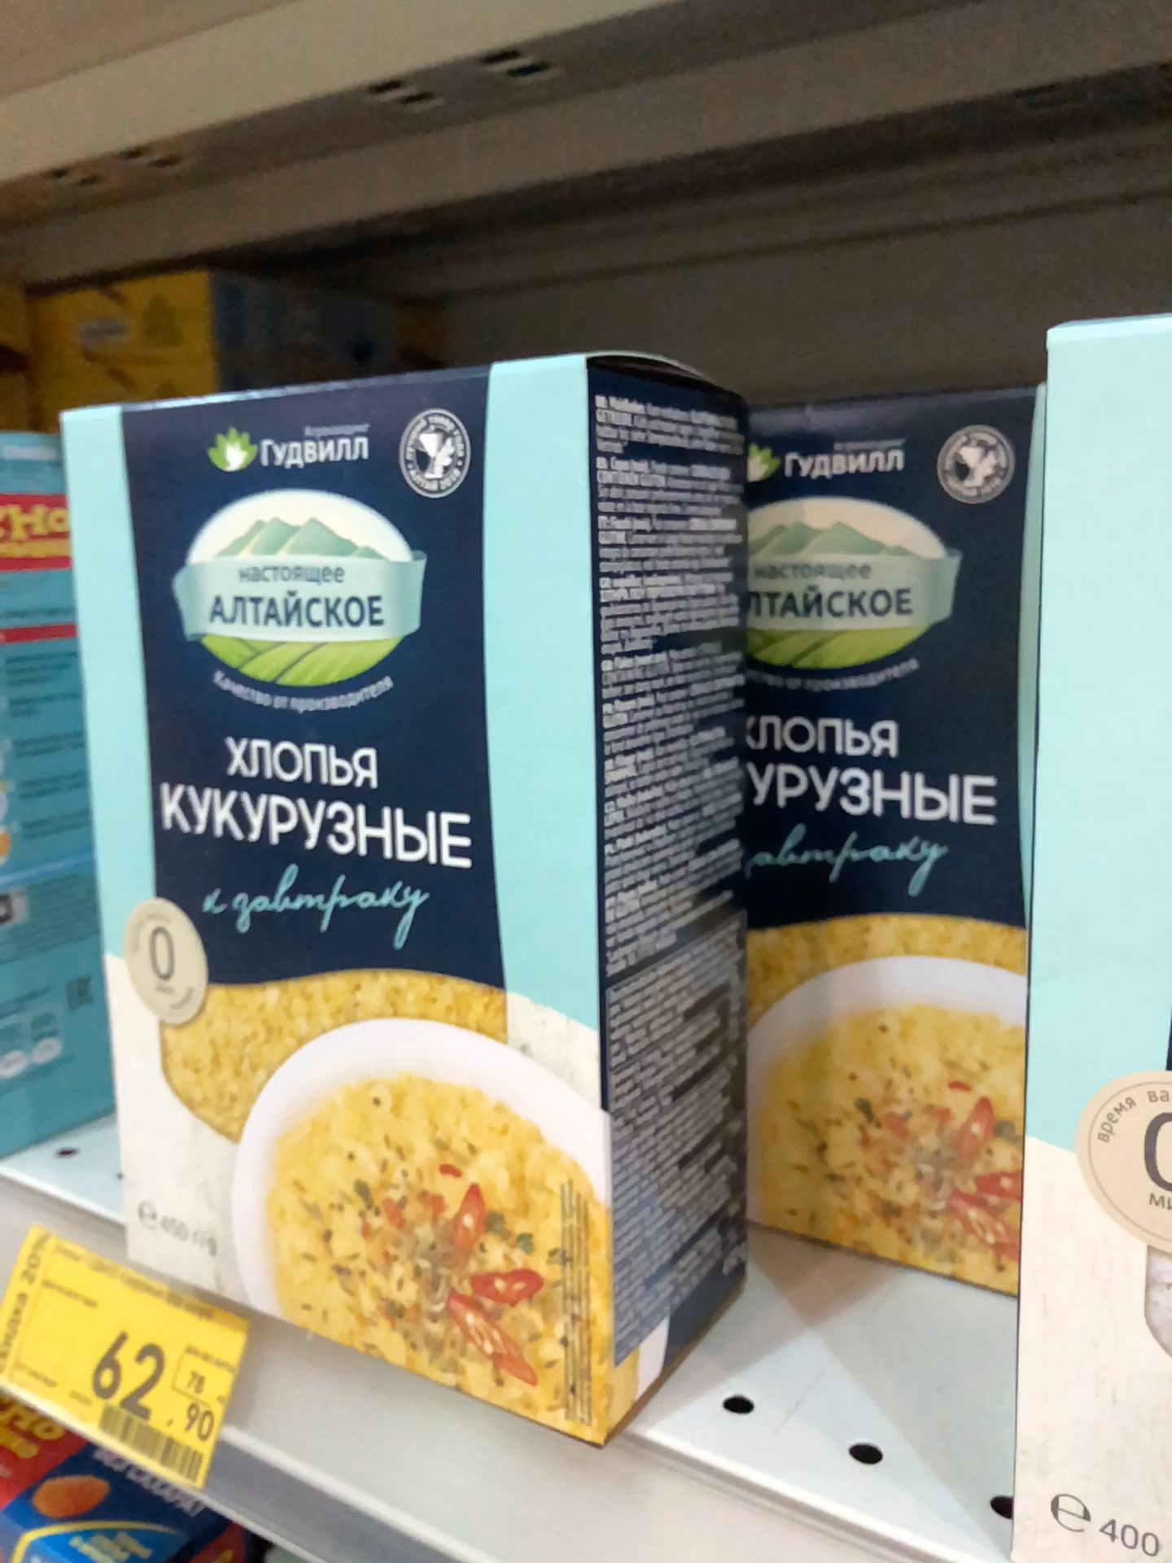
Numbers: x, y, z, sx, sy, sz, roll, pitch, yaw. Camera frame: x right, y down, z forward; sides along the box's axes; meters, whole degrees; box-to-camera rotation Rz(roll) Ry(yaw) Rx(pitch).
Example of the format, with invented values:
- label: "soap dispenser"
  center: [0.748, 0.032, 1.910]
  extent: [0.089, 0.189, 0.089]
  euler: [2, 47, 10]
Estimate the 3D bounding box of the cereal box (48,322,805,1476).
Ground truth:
- label: "cereal box"
  center: [-0.032, 0.016, 0.271]
  extent: [0.140, 0.190, 0.060]
  euler: [4, 10, 31]
